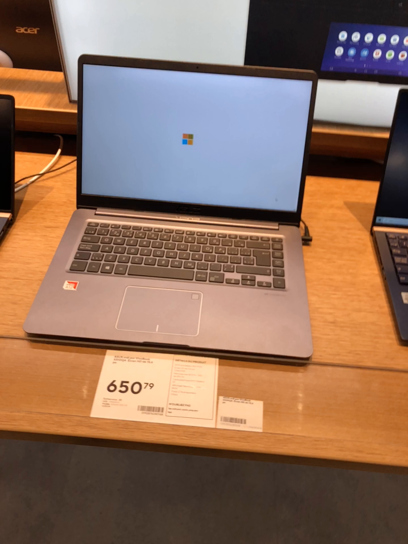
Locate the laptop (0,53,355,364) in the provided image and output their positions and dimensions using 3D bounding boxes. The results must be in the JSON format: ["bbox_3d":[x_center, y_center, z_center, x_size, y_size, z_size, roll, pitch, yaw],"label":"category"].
[{"bbox_3d":[-0.027,-0.111,0.609,0.352,0.177,0.392,5,48,1],"label":"laptop"}]
